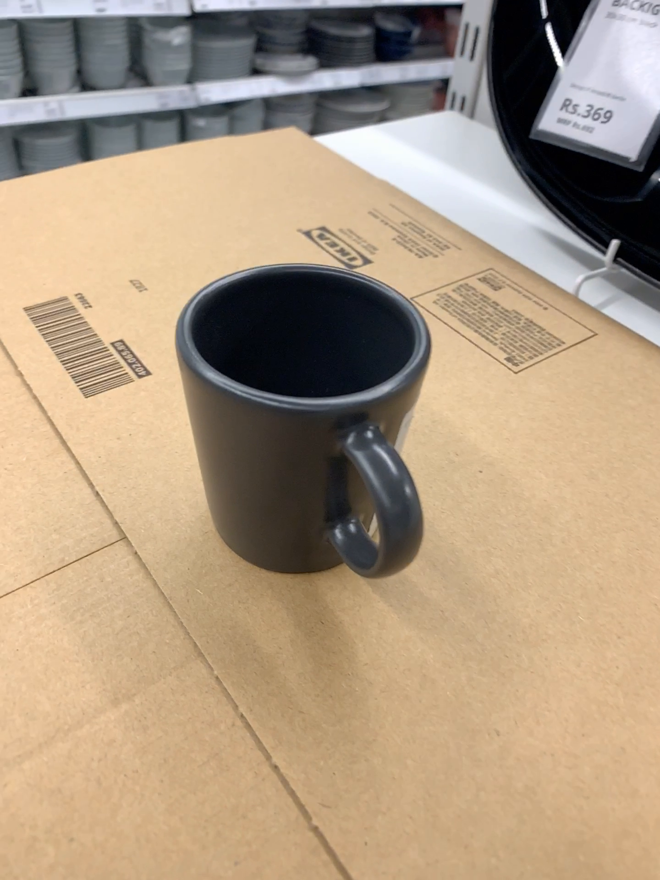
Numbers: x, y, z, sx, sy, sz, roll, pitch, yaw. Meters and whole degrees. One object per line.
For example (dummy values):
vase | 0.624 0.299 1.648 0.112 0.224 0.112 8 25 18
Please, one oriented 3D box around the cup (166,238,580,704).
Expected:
cup | 0.002 0.003 0.174 0.060 0.070 0.080 -15 47 -24
